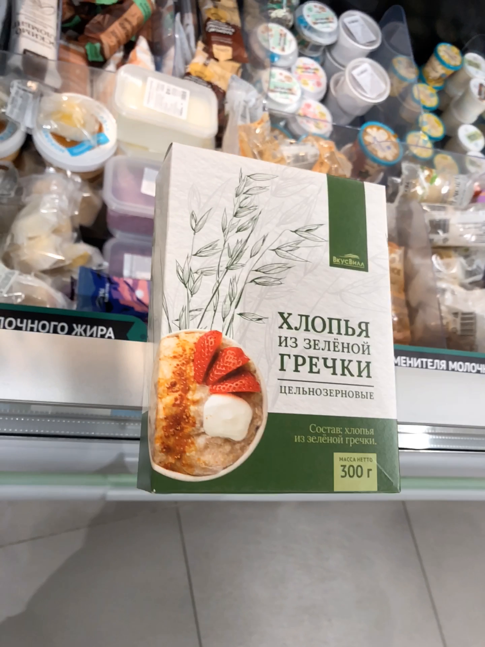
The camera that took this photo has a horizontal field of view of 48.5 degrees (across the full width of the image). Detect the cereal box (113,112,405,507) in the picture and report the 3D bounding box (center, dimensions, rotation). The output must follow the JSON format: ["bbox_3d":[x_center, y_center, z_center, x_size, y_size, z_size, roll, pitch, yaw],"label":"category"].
[{"bbox_3d":[0.012,-0.003,0.313,0.150,0.050,0.200,6,76,-20],"label":"cereal box"}]
